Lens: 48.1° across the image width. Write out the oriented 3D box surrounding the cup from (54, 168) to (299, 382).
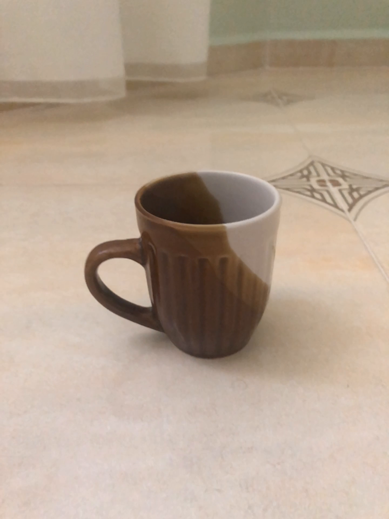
[{"bbox_3d":[-0.005,0.004,0.237,0.103,0.086,0.076,1,30,5],"label":"cup"}]
